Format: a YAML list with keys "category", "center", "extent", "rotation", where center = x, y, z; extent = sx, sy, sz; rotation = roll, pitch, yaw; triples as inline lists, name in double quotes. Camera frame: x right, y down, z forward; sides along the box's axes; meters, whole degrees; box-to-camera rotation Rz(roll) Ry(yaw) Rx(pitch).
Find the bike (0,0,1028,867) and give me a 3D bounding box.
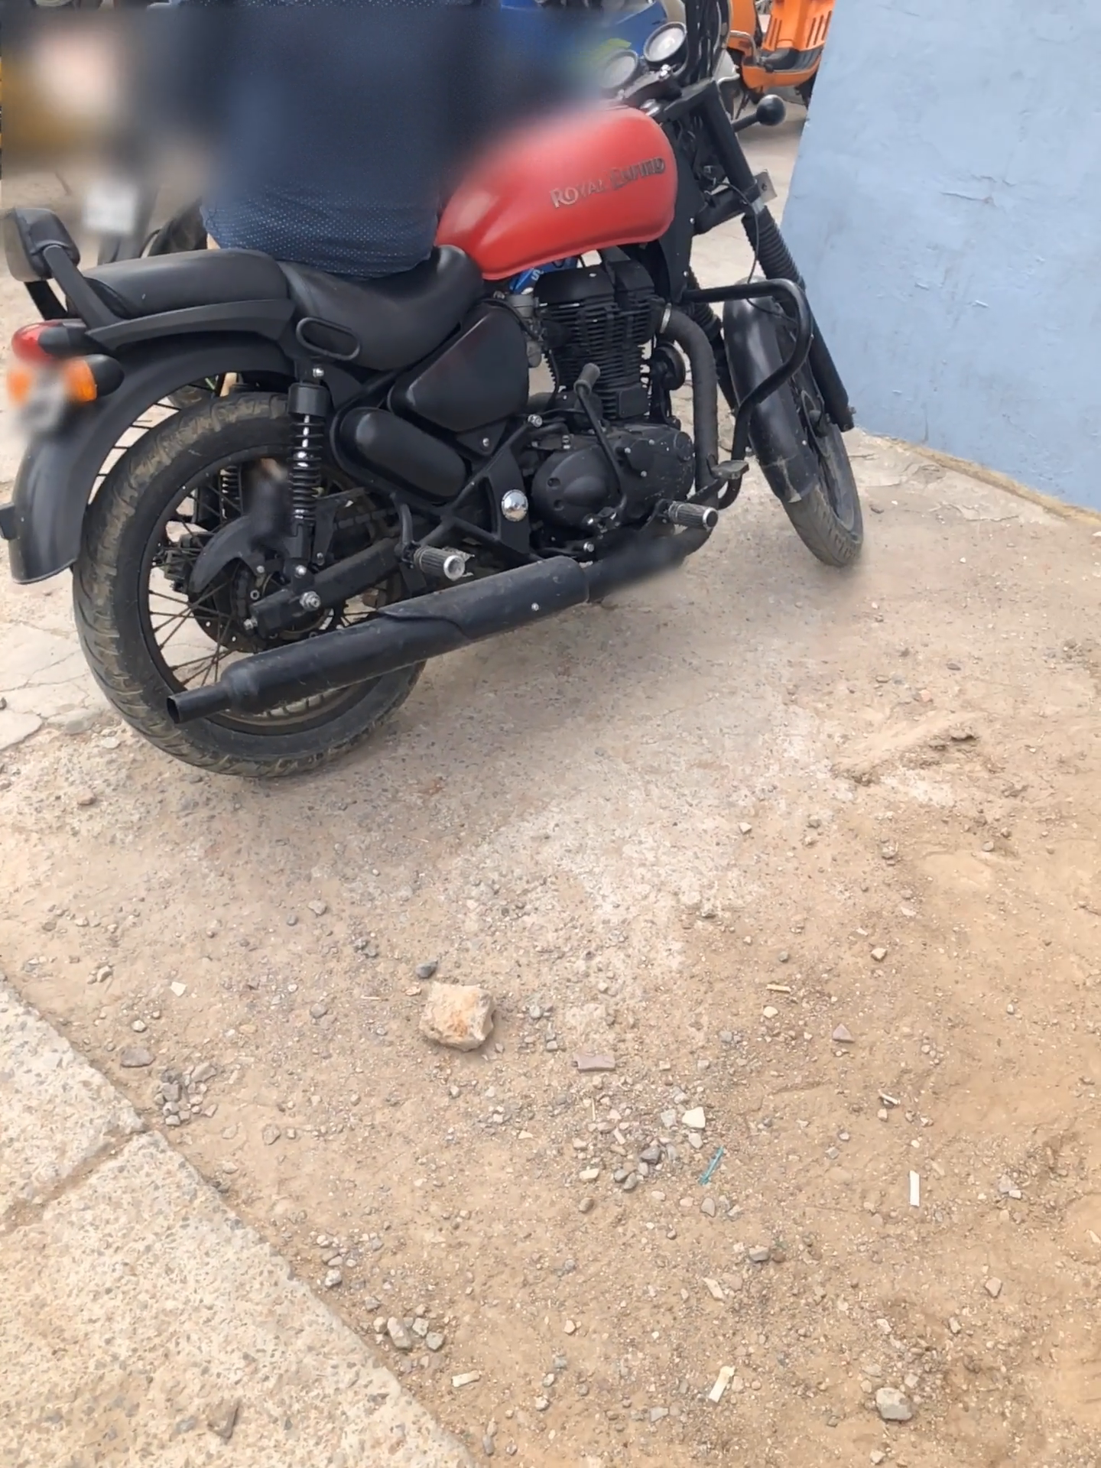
- category: "bike"
  center: [-0.182, -0.867, 2.040]
  extent: [1.546, 1.245, 0.777]
  rotation: [-32, 53, -33]
